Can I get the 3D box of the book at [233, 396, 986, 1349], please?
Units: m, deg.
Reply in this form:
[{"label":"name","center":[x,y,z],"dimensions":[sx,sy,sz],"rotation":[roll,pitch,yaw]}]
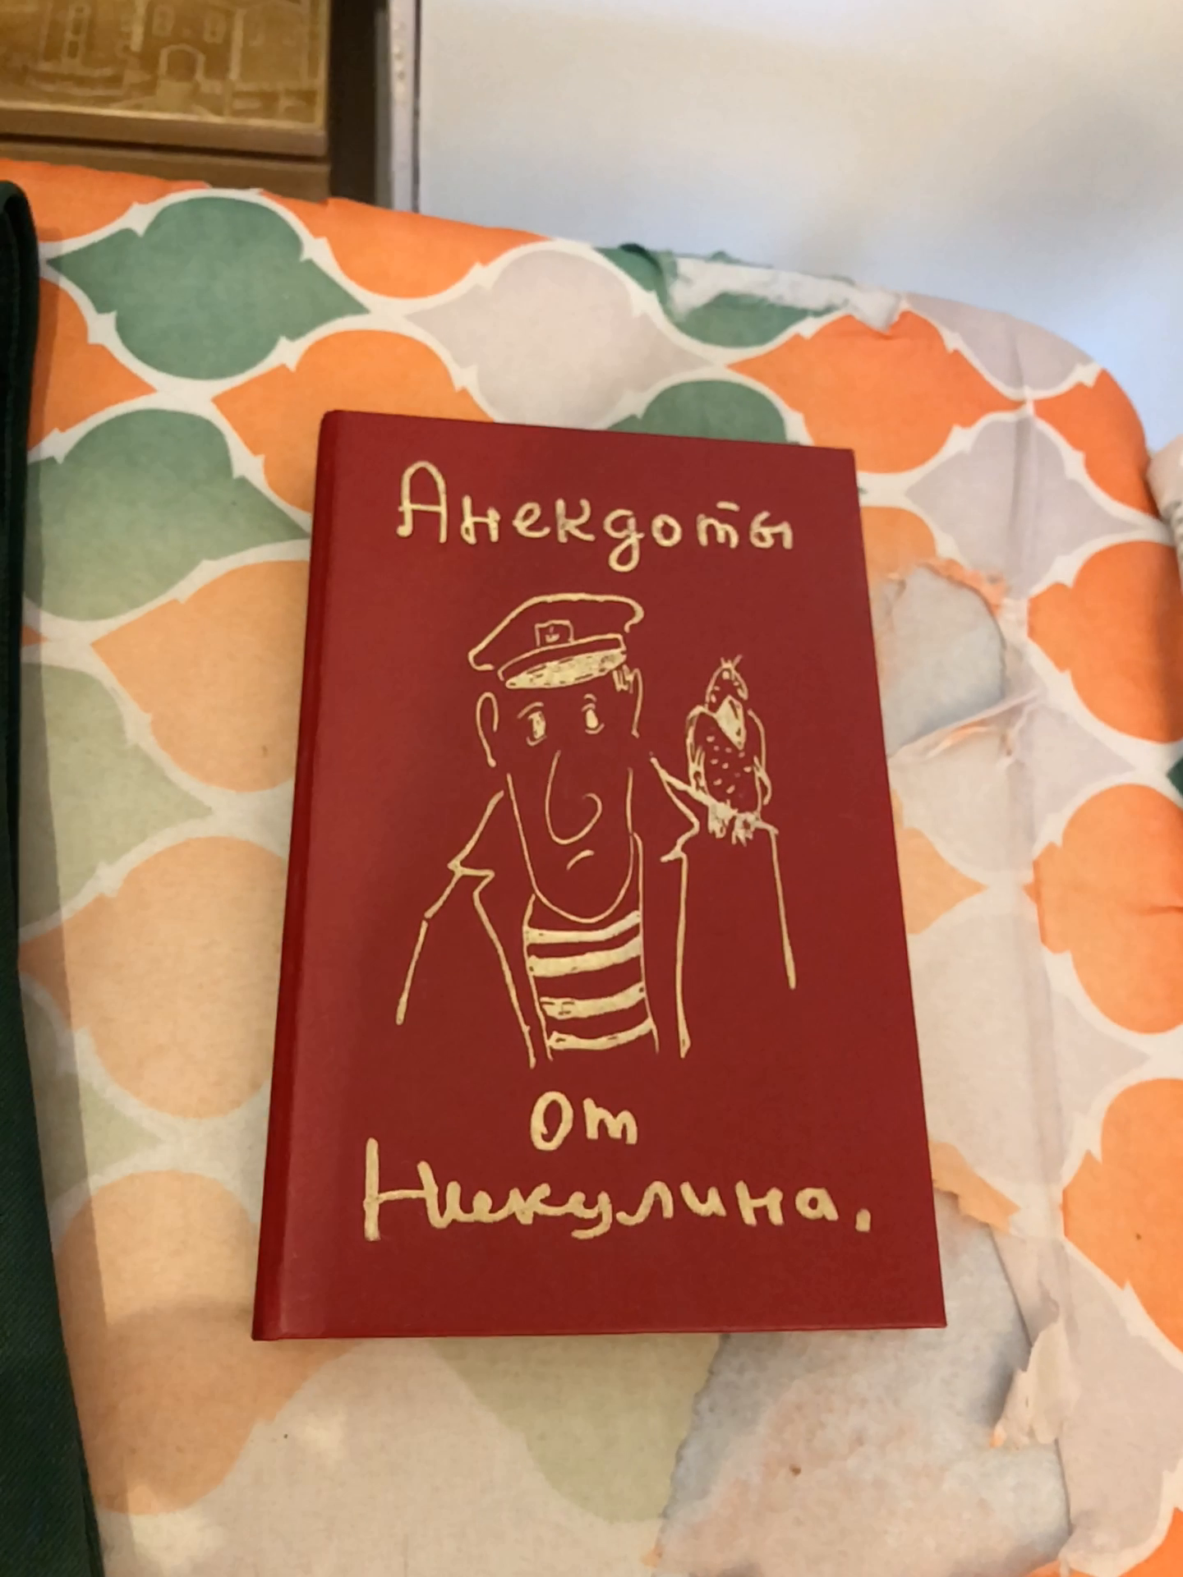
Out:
[{"label":"book","center":[0.002,0.011,0.295],"dimensions":[0.140,0.030,0.208],"rotation":[2,67,-8]}]
